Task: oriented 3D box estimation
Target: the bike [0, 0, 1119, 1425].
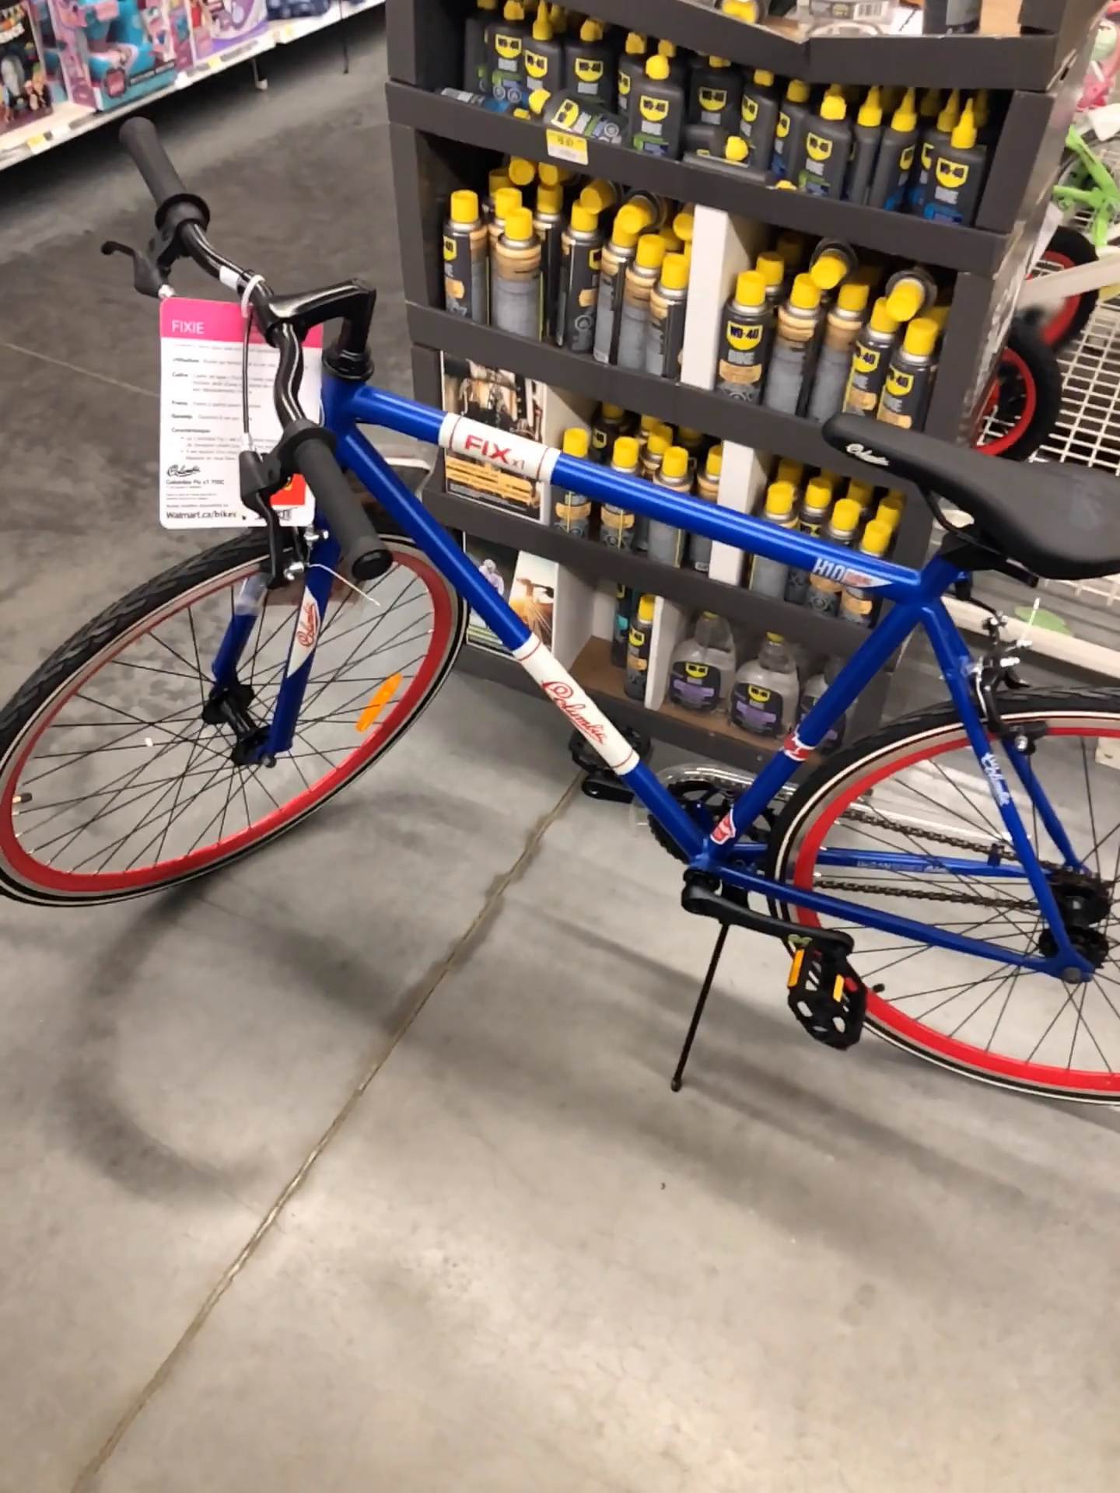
[{"bbox_3d":[0.124,0.044,1.123,1.490,0.938,0.605,10,46,1],"label":"bike"}]
